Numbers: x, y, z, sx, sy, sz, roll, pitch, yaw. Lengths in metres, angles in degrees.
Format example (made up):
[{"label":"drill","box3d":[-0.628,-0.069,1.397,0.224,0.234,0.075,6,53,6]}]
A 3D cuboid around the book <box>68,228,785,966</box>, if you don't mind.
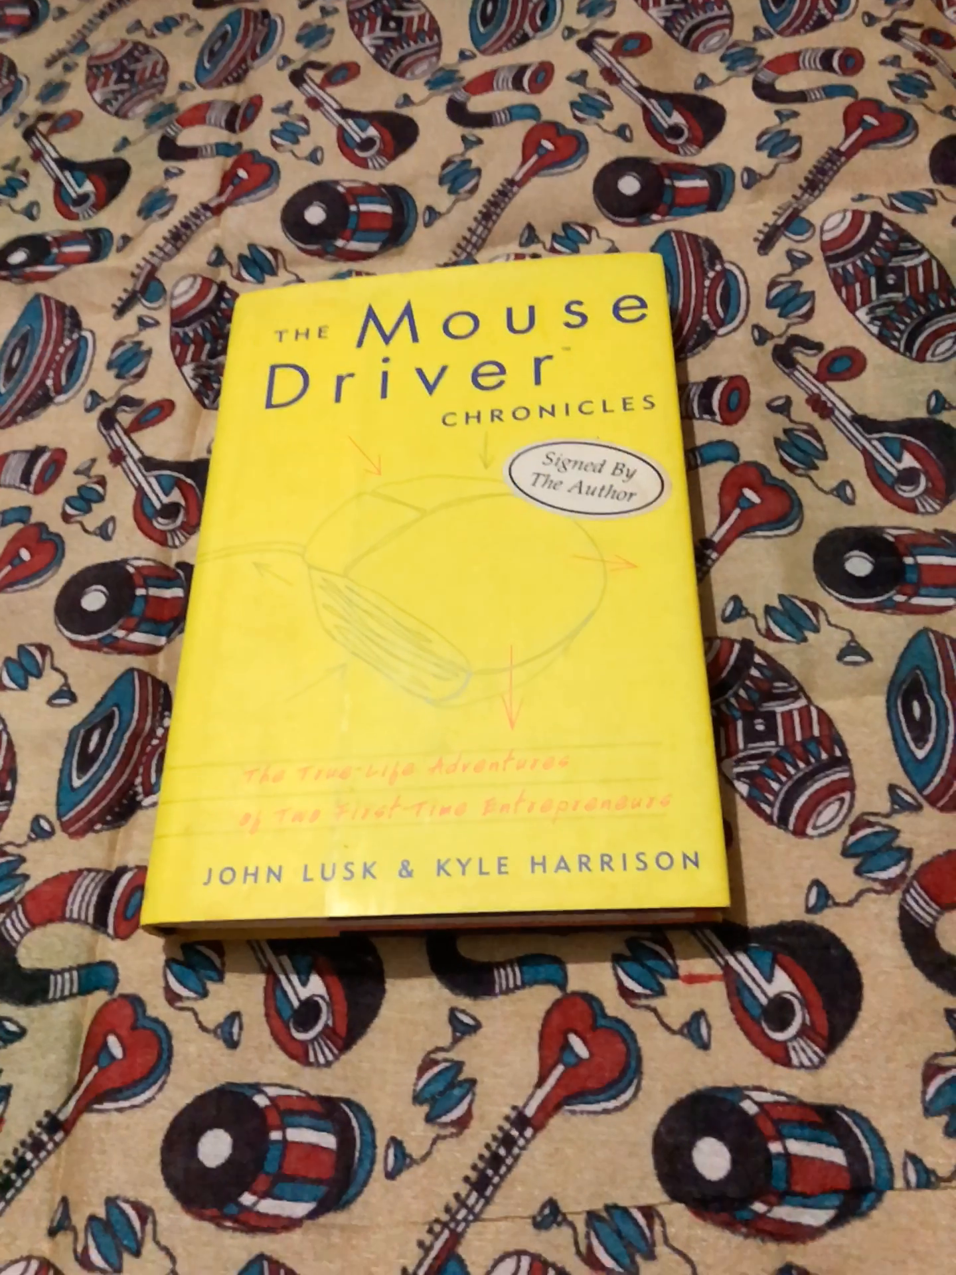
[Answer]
[{"label":"book","box3d":[-0.011,-0.023,0.310,0.160,0.040,0.221,-3,58,6]}]
